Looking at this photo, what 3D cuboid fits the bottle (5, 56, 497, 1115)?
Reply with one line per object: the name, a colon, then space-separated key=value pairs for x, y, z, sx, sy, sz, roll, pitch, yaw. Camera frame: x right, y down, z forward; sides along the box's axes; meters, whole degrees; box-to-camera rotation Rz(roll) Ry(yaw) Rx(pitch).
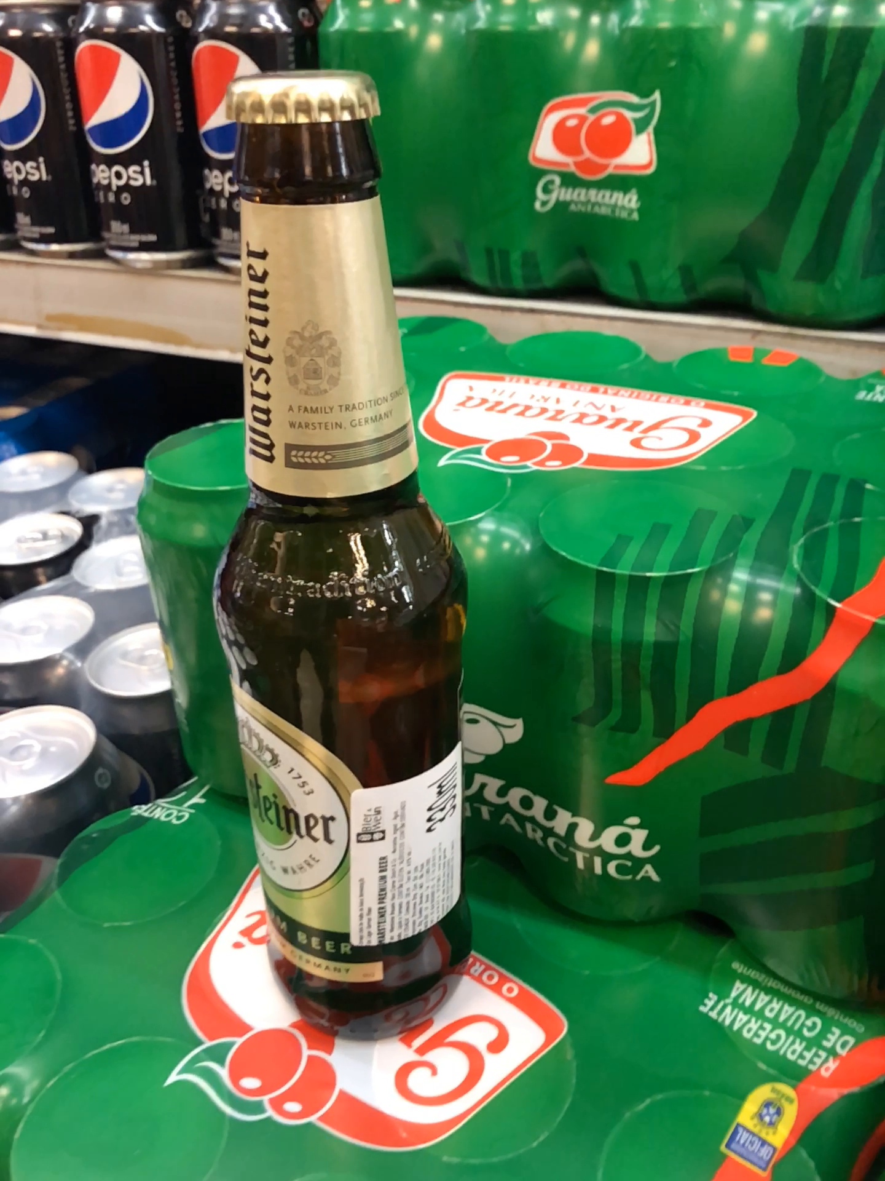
bottle: x=-0.033 y=0.009 z=0.228 sx=0.060 sy=0.228 sz=0.070 roll=-19 pitch=34 yaw=-26
